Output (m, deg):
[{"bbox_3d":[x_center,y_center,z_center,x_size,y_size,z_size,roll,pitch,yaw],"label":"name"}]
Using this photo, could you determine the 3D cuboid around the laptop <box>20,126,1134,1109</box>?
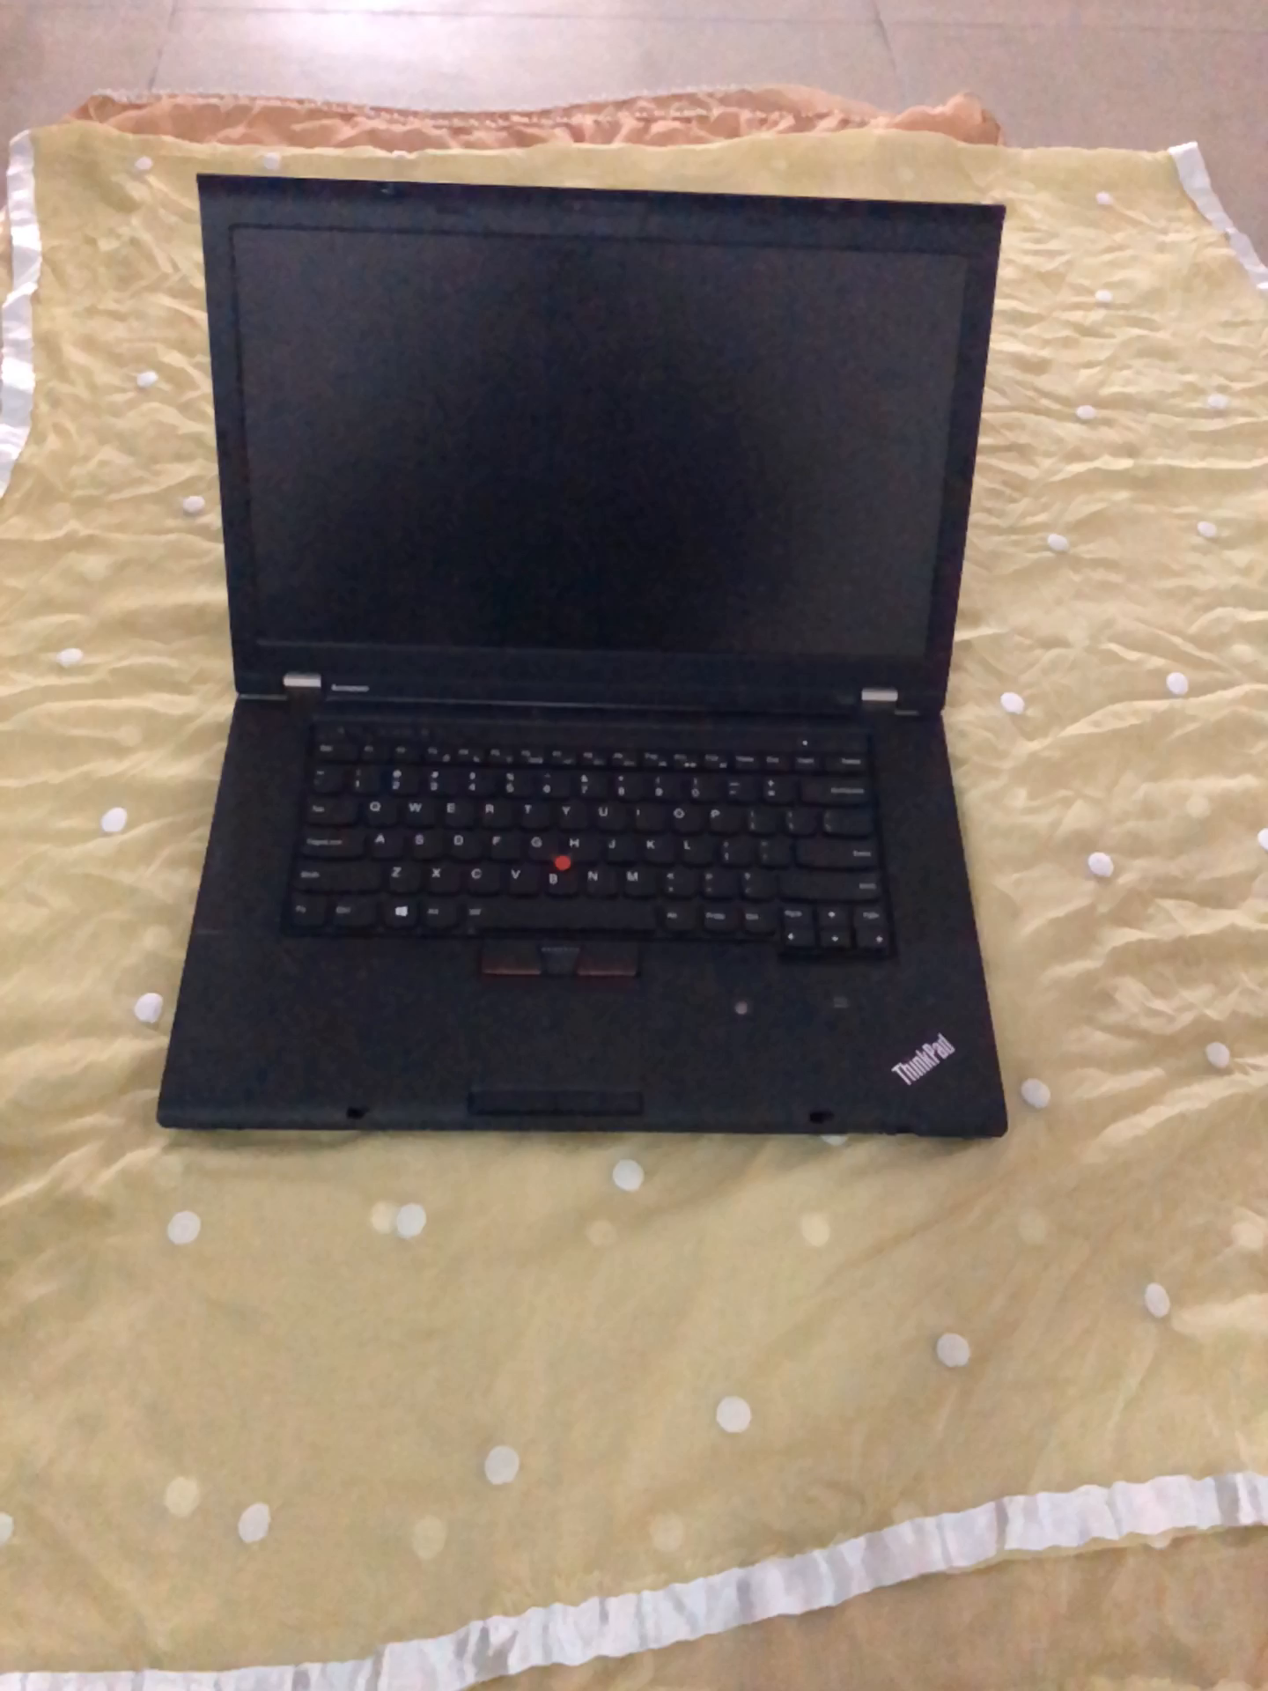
[{"bbox_3d":[-0.020,-0.105,0.630,0.363,0.191,0.382,1,59,-3],"label":"laptop"}]
